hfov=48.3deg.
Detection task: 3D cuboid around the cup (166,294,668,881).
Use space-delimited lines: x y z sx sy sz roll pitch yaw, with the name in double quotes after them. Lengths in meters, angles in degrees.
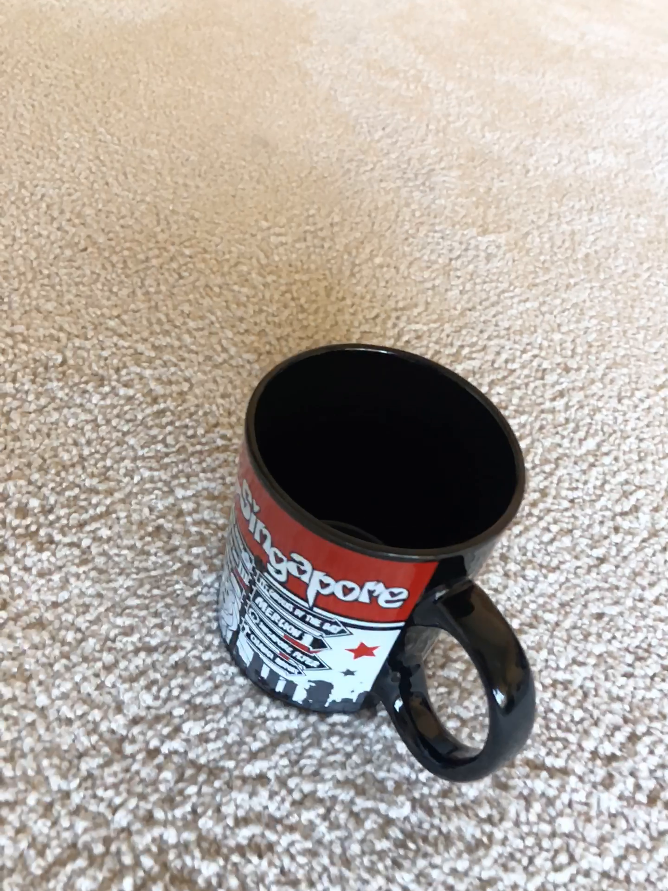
0.015 0.034 0.229 0.090 0.090 0.130 -13 51 -27 "cup"
